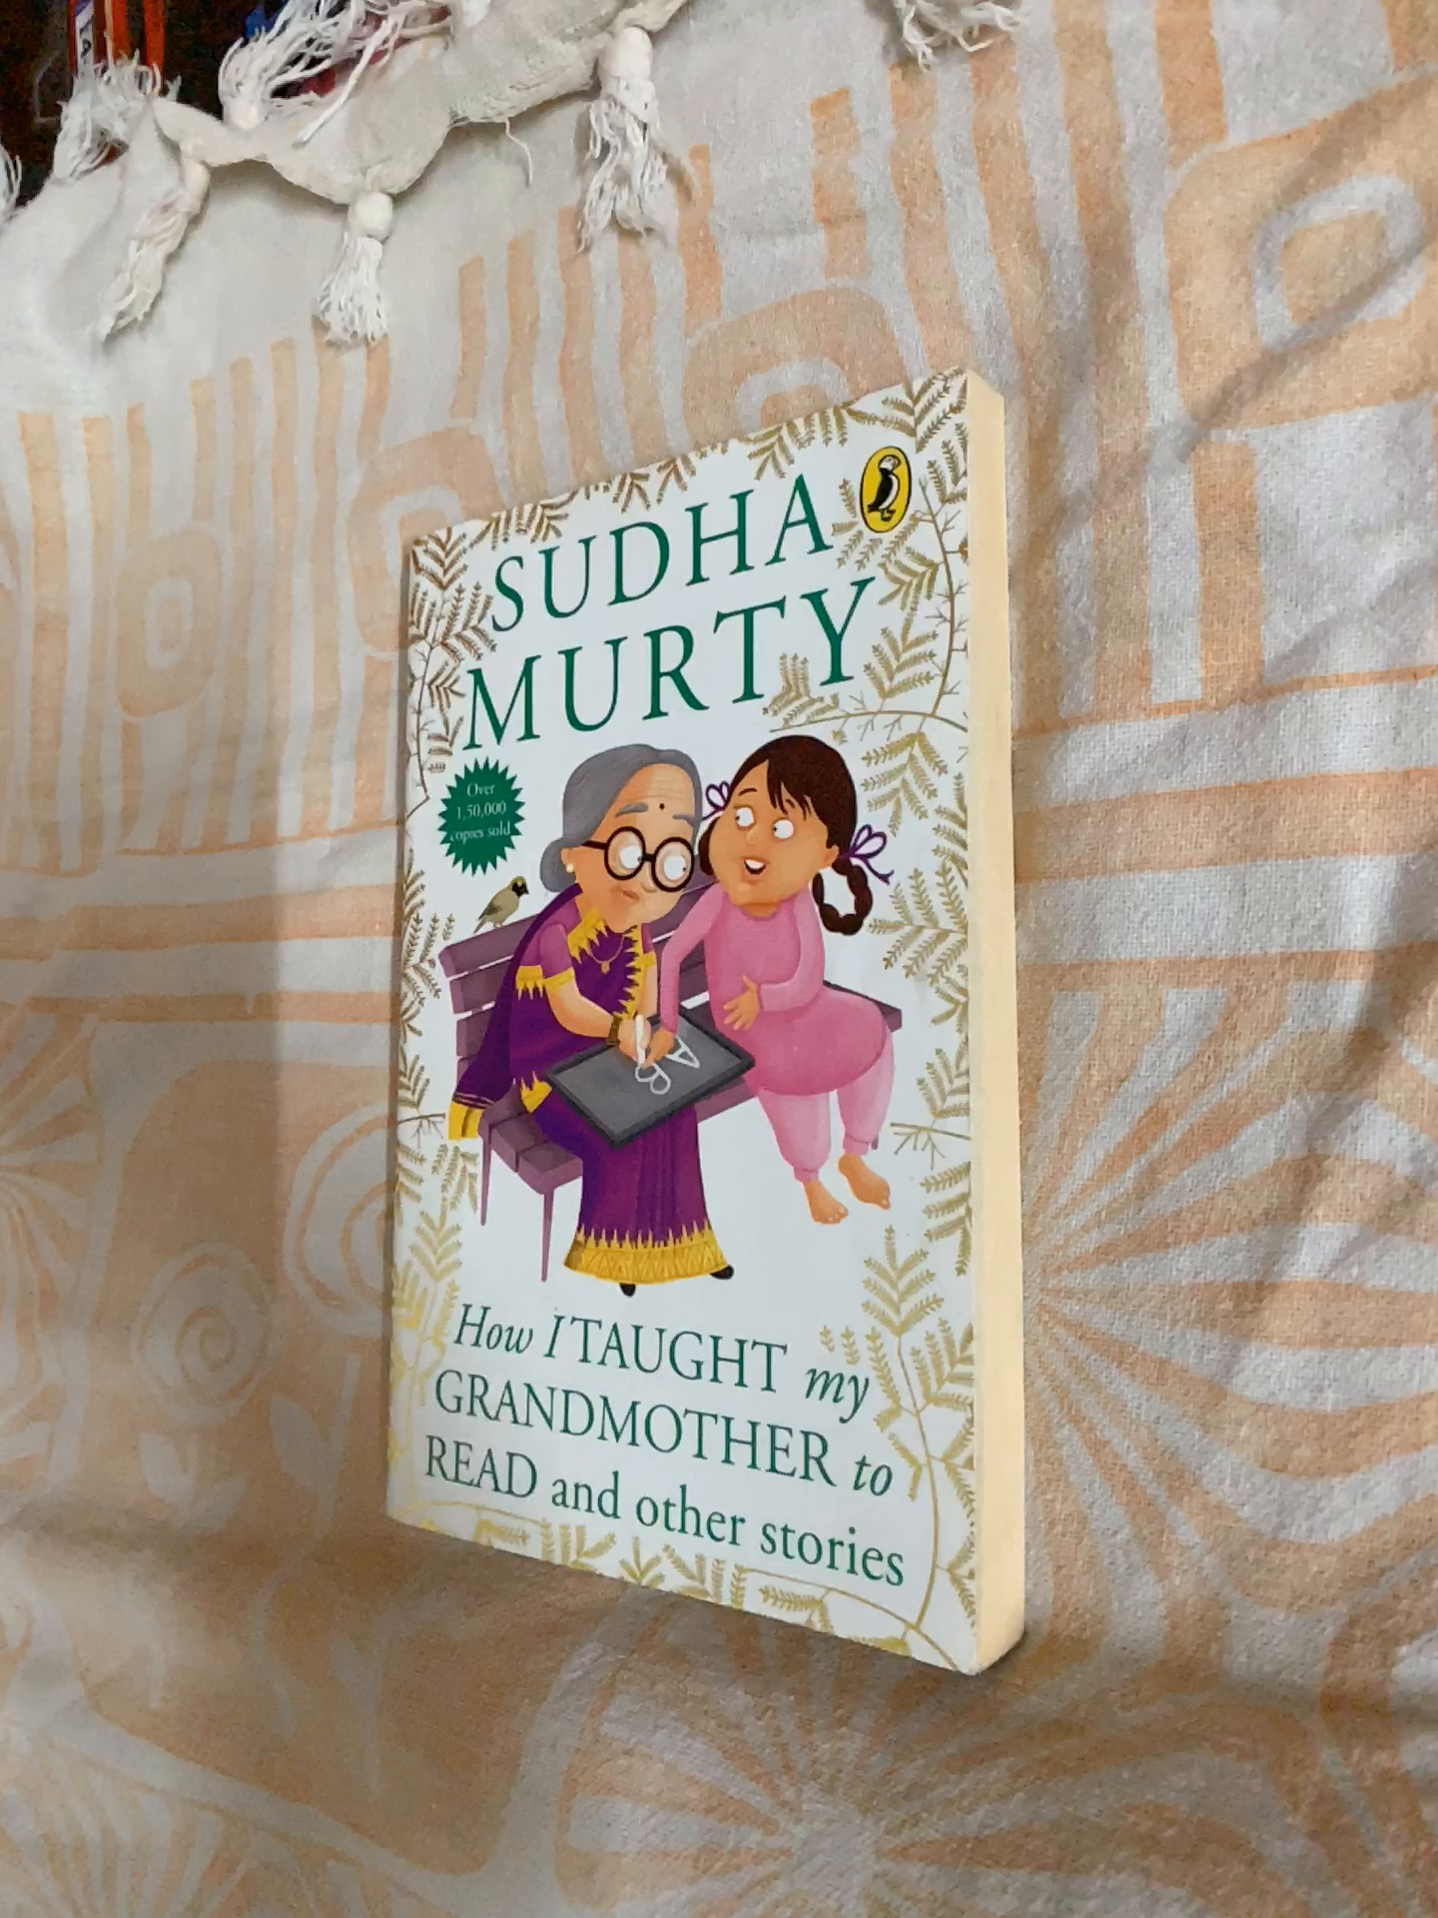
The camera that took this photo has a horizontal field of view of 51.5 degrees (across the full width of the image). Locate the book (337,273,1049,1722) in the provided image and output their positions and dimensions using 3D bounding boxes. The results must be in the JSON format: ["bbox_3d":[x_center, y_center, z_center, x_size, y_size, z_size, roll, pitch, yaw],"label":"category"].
[{"bbox_3d":[-0.010,0.004,0.253,0.131,0.020,0.200,-5,80,38],"label":"book"}]
